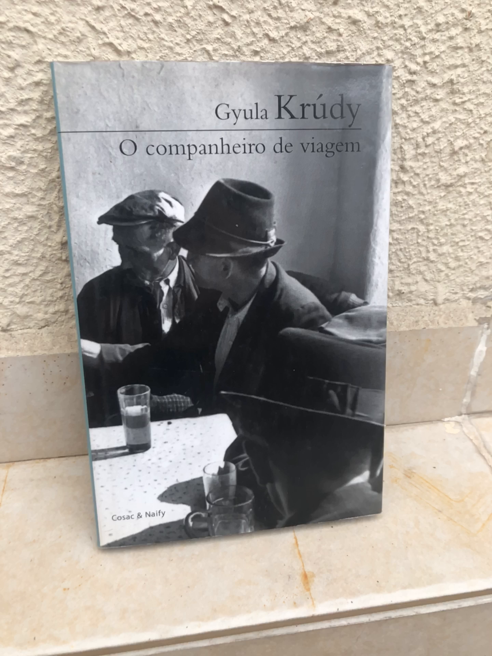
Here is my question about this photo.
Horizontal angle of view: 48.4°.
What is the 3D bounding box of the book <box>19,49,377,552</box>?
[{"bbox_3d":[-0.014,-0.007,0.241,0.137,0.205,0.019,-4,13,-10],"label":"book"}]
